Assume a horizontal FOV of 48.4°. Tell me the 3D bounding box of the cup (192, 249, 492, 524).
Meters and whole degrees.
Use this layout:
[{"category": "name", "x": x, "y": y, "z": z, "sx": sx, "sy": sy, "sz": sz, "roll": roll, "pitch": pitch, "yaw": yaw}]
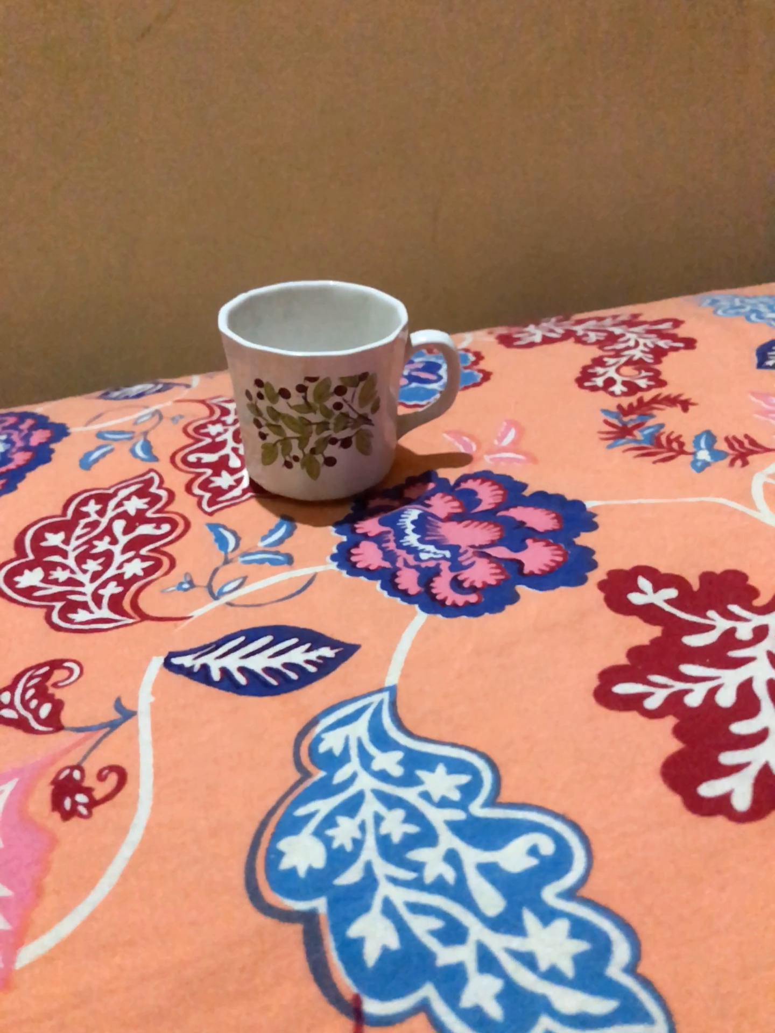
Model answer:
[{"category": "cup", "x": -0.013, "y": -0.046, "z": 0.303, "sx": 0.090, "sy": 0.069, "sz": 0.060, "roll": -4, "pitch": 36, "yaw": -1}]
